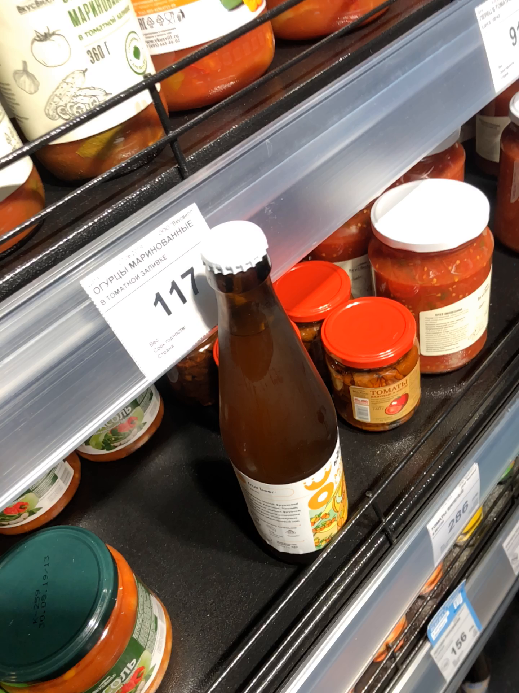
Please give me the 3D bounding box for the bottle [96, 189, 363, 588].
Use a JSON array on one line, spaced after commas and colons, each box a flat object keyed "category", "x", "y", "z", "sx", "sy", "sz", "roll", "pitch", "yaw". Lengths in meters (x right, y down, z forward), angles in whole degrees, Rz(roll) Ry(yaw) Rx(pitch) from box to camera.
[{"category": "bottle", "x": 0.005, "y": 0.042, "z": 0.320, "sx": 0.070, "sy": 0.249, "sz": 0.070, "roll": -8, "pitch": 45, "yaw": 8}]
